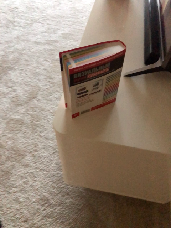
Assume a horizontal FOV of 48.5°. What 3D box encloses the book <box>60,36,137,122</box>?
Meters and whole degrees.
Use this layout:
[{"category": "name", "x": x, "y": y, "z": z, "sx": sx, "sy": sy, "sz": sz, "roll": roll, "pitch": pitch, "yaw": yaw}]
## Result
[{"category": "book", "x": 0.024, "y": -0.078, "z": 0.464, "sx": 0.150, "sy": 0.179, "sz": 0.060, "roll": -19, "pitch": 58, "yaw": -16}]
